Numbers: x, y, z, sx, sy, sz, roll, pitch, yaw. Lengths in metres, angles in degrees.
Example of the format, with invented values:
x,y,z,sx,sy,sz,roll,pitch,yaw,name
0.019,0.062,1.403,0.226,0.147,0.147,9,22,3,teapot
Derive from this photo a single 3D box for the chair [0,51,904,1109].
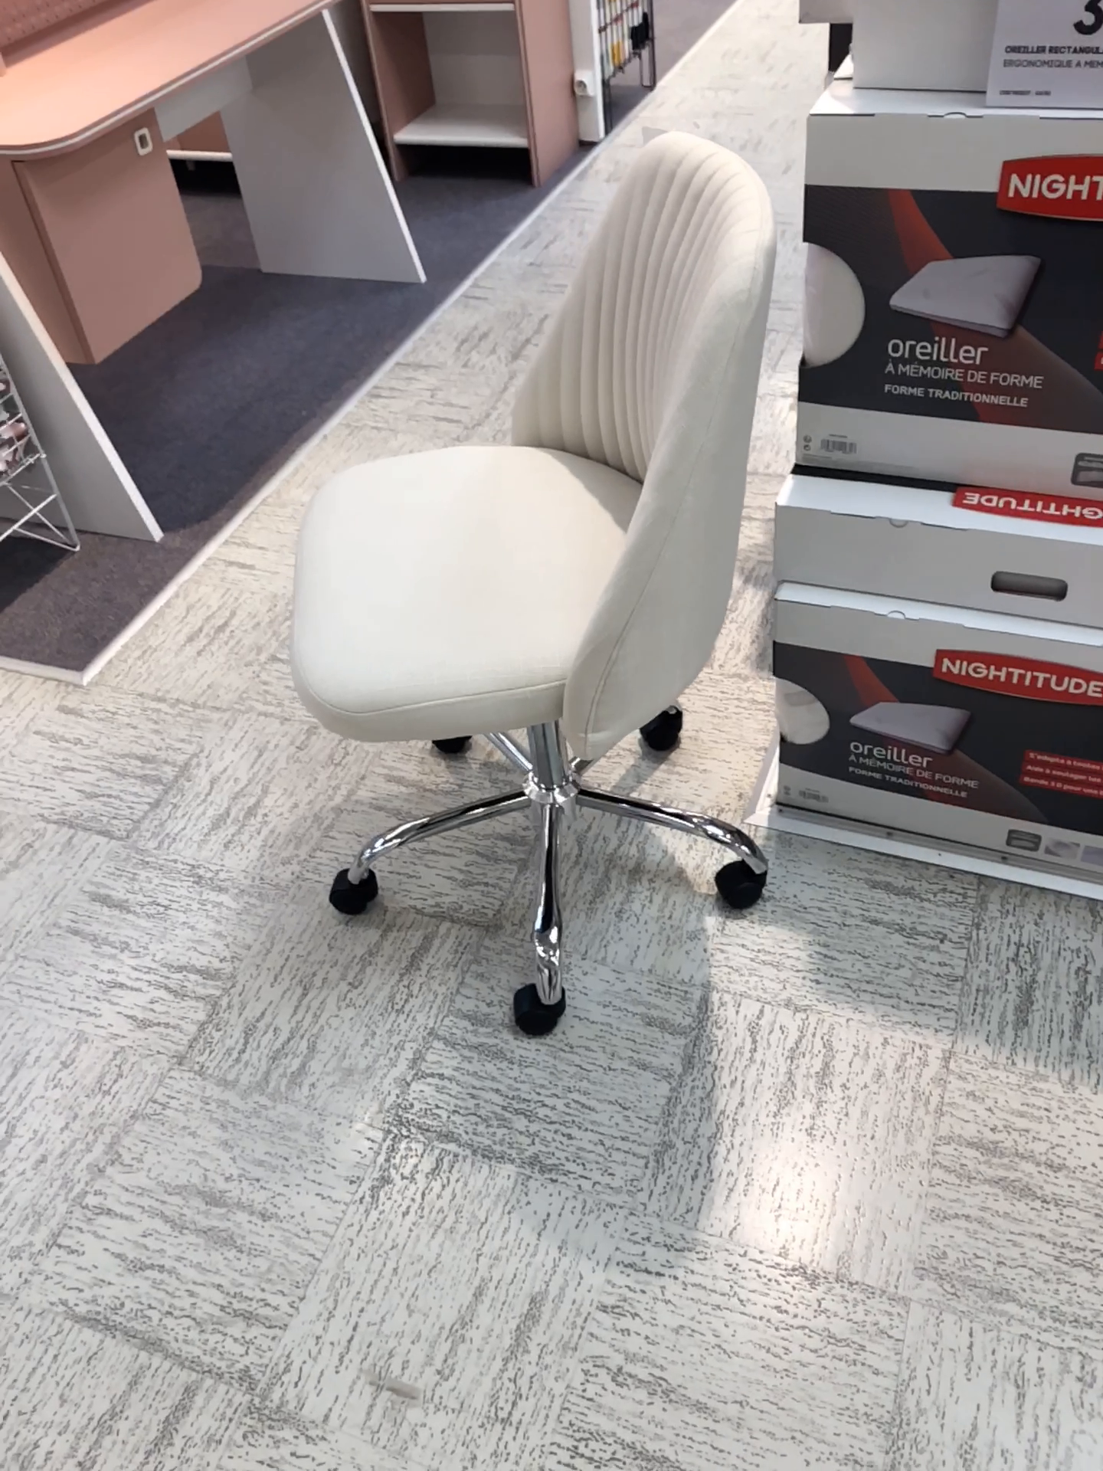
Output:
x,y,z,sx,sy,sz,roll,pitch,yaw,name
-0.097,-0.179,1.325,0.630,0.785,0.704,-13,43,-5,chair
